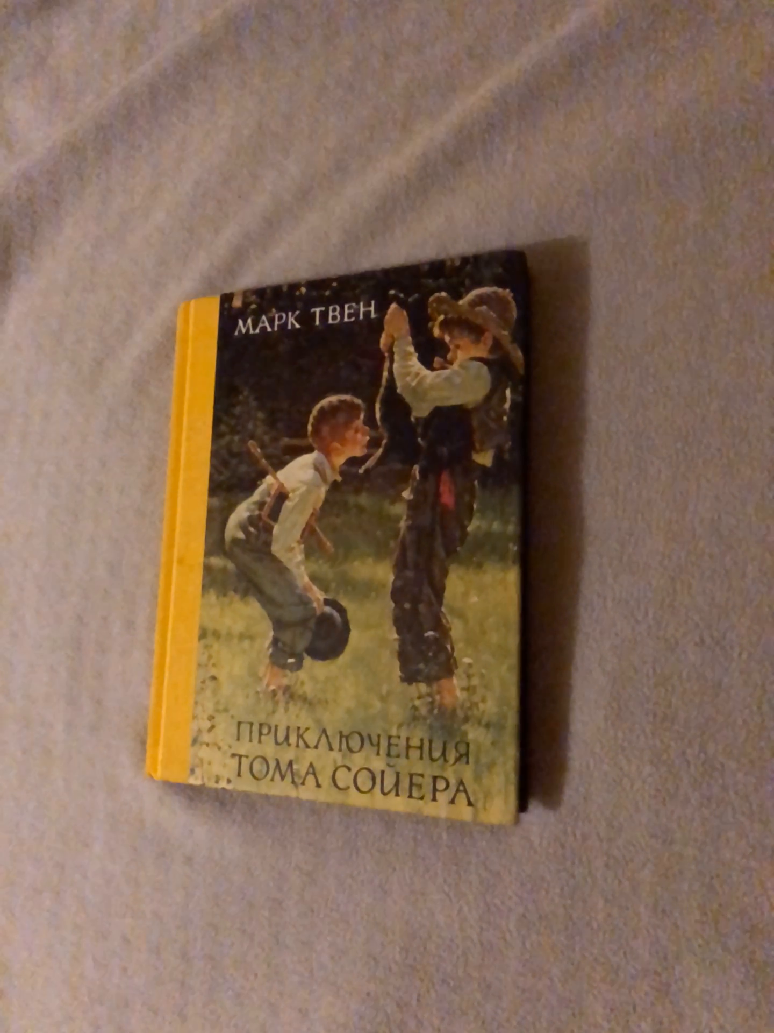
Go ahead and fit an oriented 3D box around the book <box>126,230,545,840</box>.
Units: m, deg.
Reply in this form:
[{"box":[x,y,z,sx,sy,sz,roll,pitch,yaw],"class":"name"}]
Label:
[{"box":[-0.023,0.005,0.360,0.171,0.030,0.224,-1,81,24],"class":"book"}]
